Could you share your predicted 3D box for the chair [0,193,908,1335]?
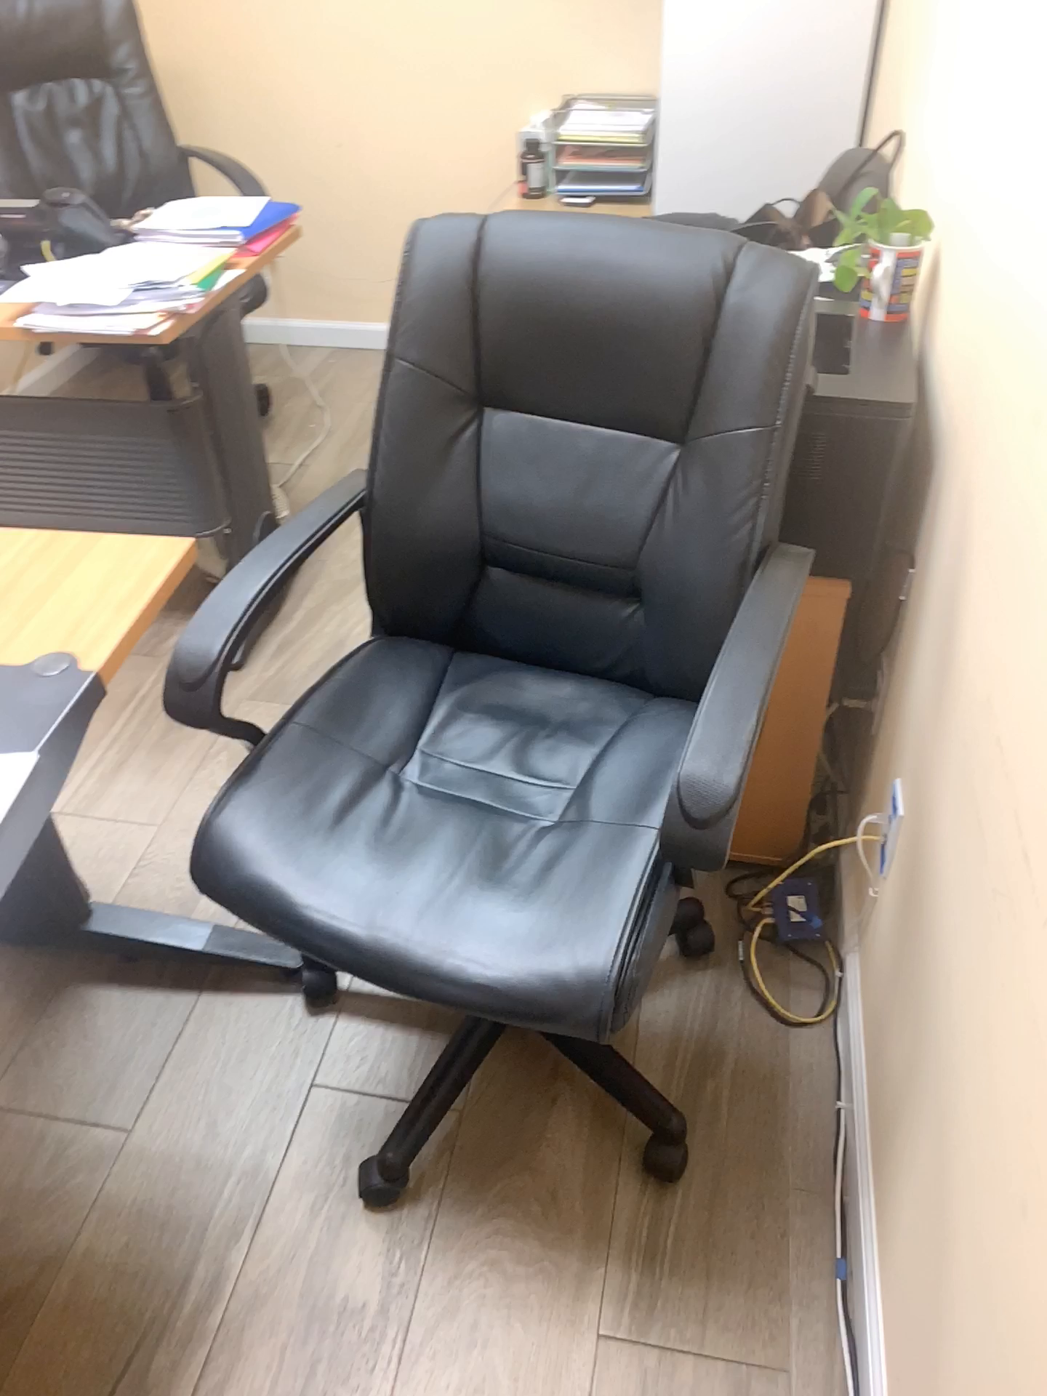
[{"bbox_3d":[-0.030,0.049,1.184,0.620,0.946,0.665,14,41,19],"label":"chair"}]
